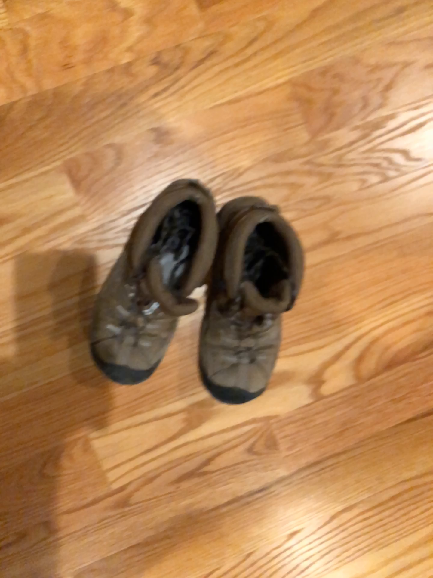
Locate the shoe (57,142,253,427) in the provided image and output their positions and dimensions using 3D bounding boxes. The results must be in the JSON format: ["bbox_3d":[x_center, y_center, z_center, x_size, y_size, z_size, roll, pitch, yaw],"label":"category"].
[{"bbox_3d":[-0.069,-0.007,0.542,0.107,0.139,0.259,21,91,-10],"label":"shoe"}]

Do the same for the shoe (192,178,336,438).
[{"bbox_3d":[0.045,0.018,0.561,0.107,0.139,0.259,6,94,-9],"label":"shoe"}]
